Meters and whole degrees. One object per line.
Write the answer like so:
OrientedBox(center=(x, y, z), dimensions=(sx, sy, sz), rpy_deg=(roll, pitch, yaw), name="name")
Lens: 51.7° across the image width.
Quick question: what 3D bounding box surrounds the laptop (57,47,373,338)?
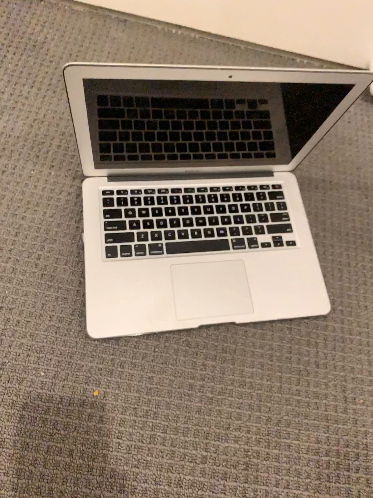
OrientedBox(center=(0.038, -0.050, 0.441), dimensions=(0.322, 0.215, 0.226), rpy_deg=(-4, 67, -11), name="laptop")
